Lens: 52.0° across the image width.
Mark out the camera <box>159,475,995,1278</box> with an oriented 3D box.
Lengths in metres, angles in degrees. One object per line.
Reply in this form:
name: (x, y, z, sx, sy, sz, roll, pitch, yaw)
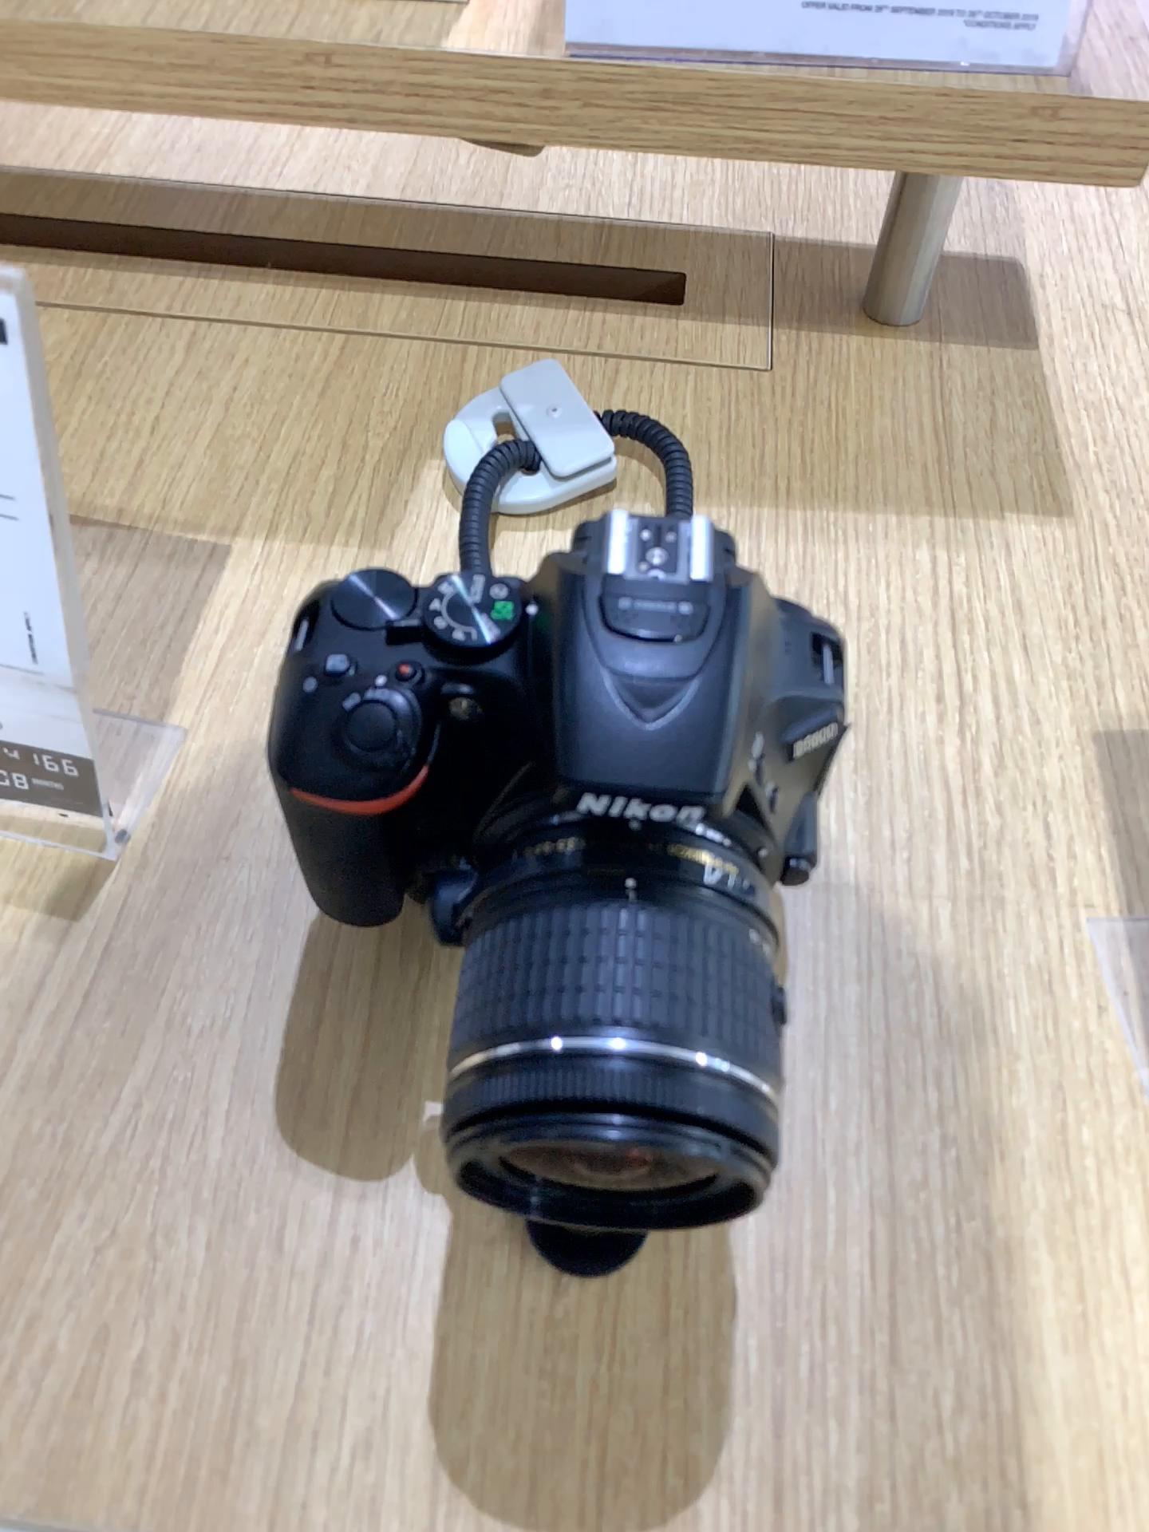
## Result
camera: (0.002, 0.020, 0.222, 0.110, 0.080, 0.120, 4, 55, 0)
